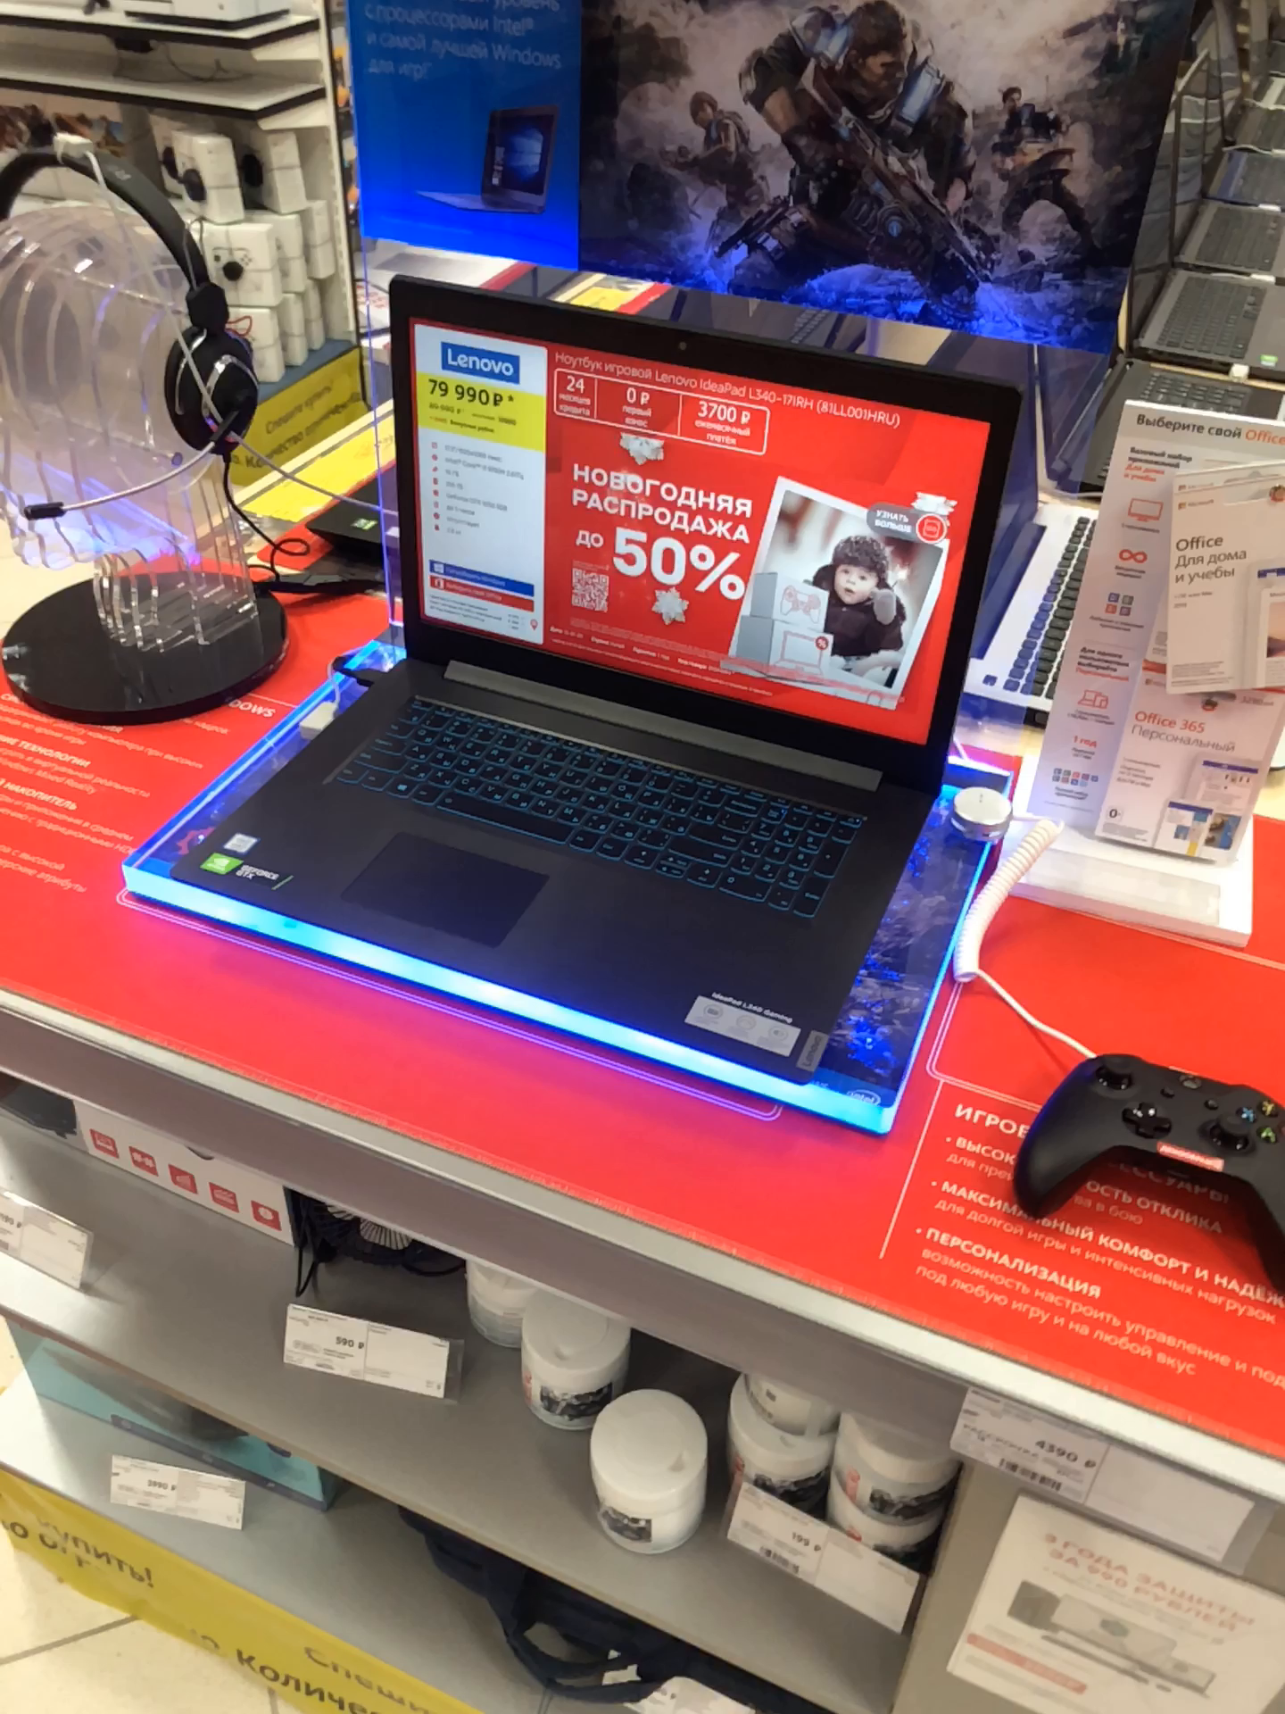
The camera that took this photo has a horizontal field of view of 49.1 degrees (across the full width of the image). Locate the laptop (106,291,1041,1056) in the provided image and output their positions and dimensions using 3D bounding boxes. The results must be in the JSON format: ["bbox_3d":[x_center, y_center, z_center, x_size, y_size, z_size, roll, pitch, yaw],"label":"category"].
[{"bbox_3d":[-0.030,-0.132,0.833,0.404,0.255,0.296,16,41,19],"label":"laptop"}]
